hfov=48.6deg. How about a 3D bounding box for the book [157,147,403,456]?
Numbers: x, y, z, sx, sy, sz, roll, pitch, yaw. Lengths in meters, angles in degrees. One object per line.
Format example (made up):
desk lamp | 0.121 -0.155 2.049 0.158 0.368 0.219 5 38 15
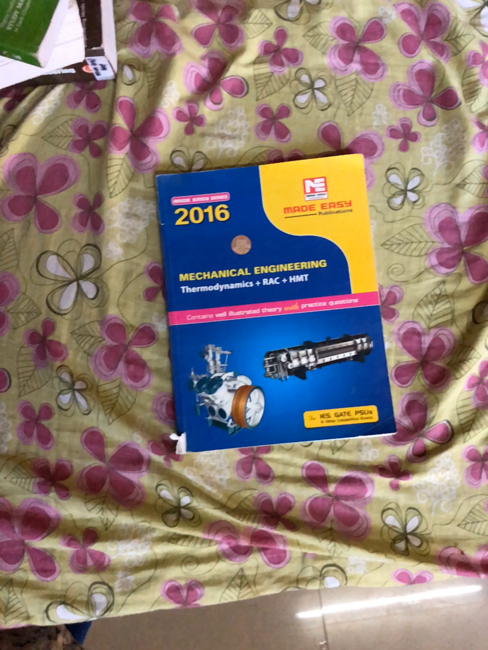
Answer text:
book | 0.030 -0.022 0.517 0.200 0.030 0.269 -6 84 4
